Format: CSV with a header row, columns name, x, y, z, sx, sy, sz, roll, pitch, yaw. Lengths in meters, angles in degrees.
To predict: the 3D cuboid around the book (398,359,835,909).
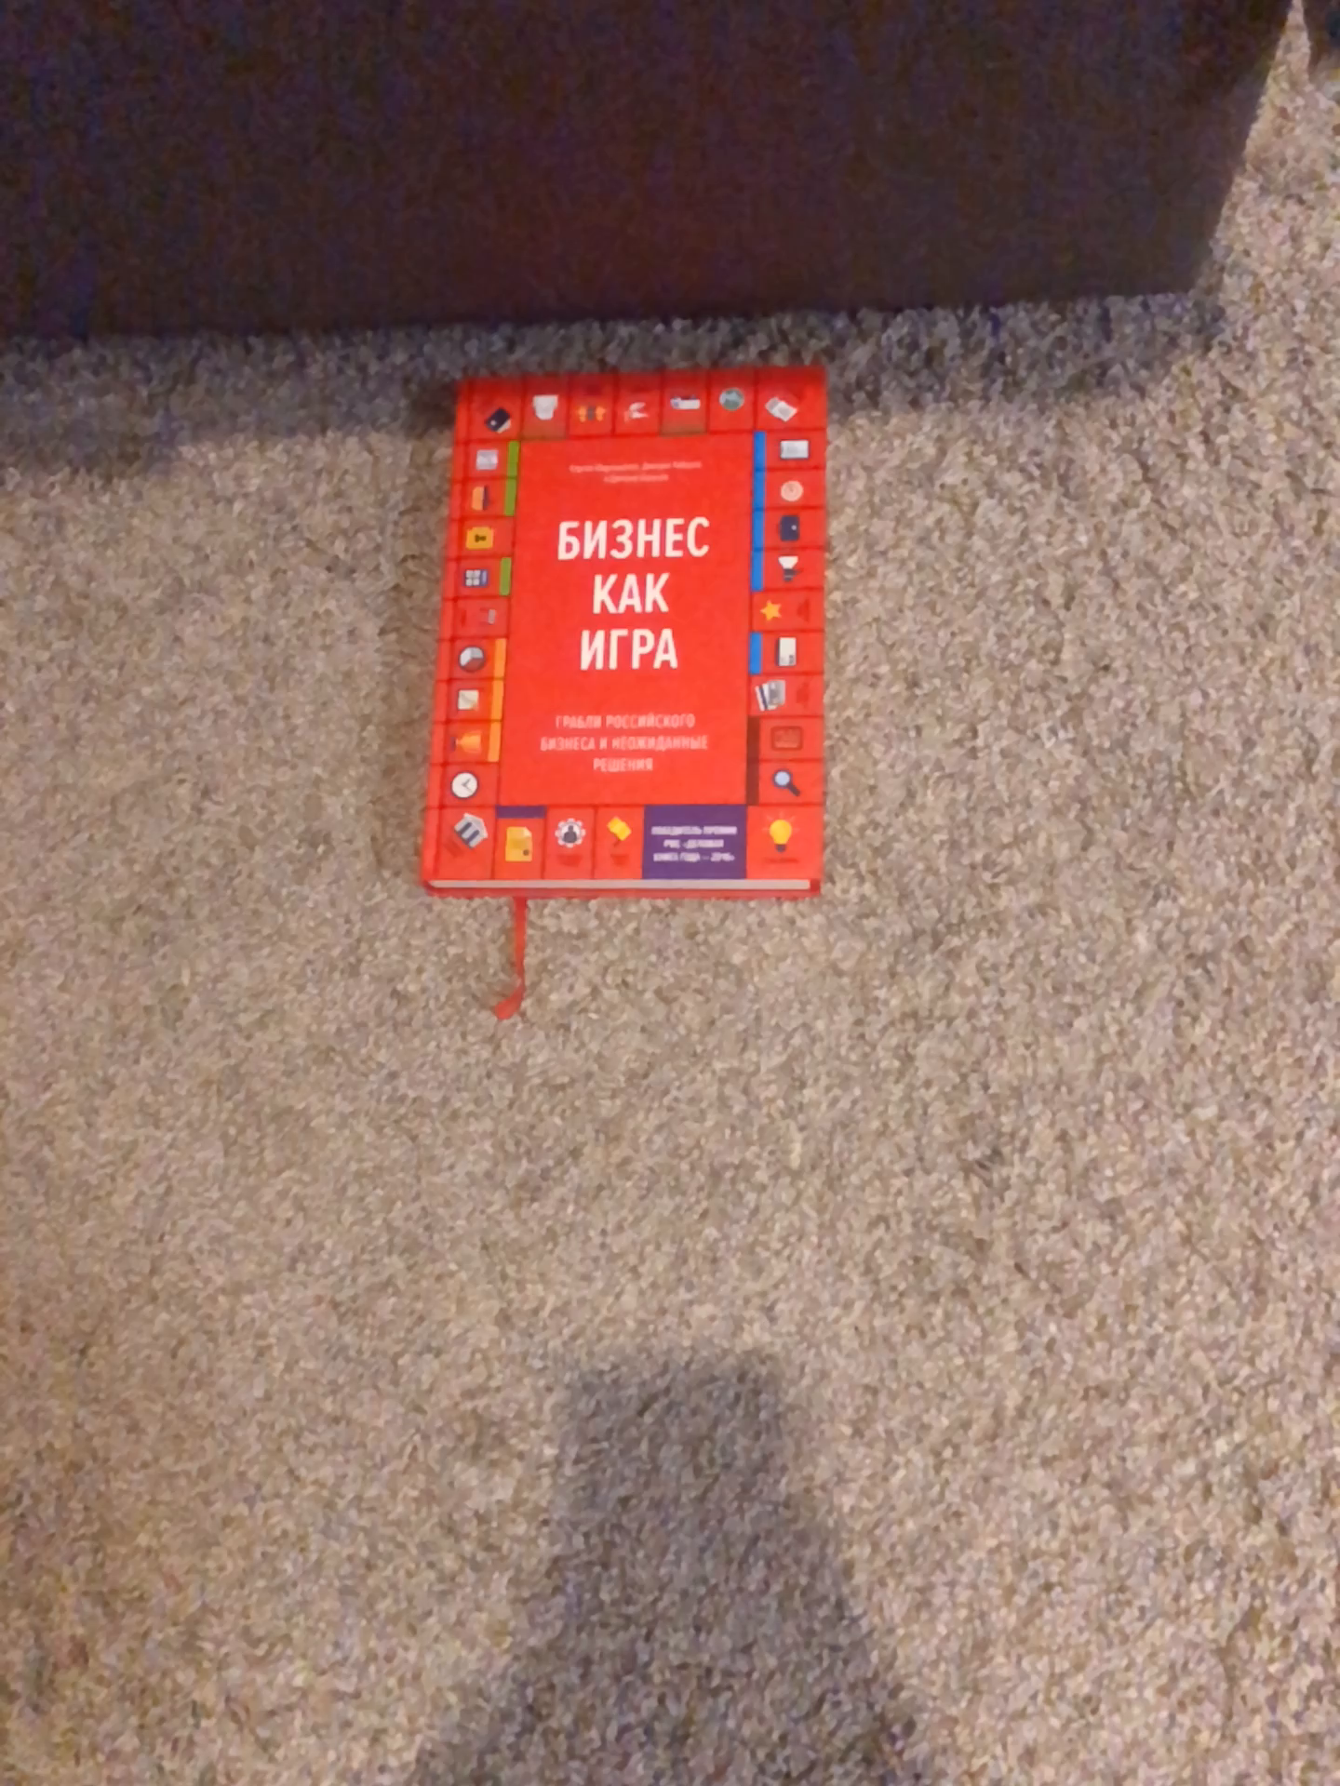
name,x,y,z,sx,sy,sz,roll,pitch,yaw
book,-0.018,-0.116,0.645,0.179,0.033,0.247,0,73,6
